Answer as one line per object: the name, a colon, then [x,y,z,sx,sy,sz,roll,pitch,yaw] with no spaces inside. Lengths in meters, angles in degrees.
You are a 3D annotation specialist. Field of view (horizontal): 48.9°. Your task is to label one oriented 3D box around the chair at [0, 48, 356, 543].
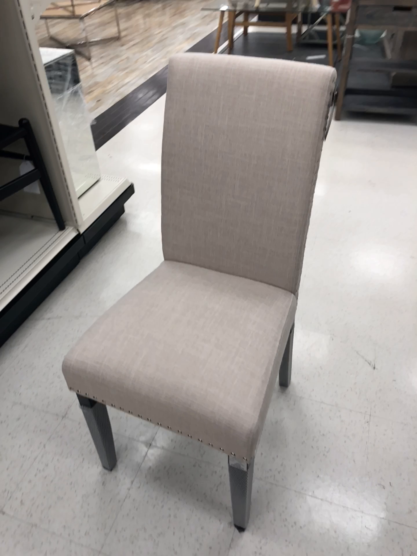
chair: [-0.022,0.065,1.131,0.487,1.006,0.558,15,43,21]
